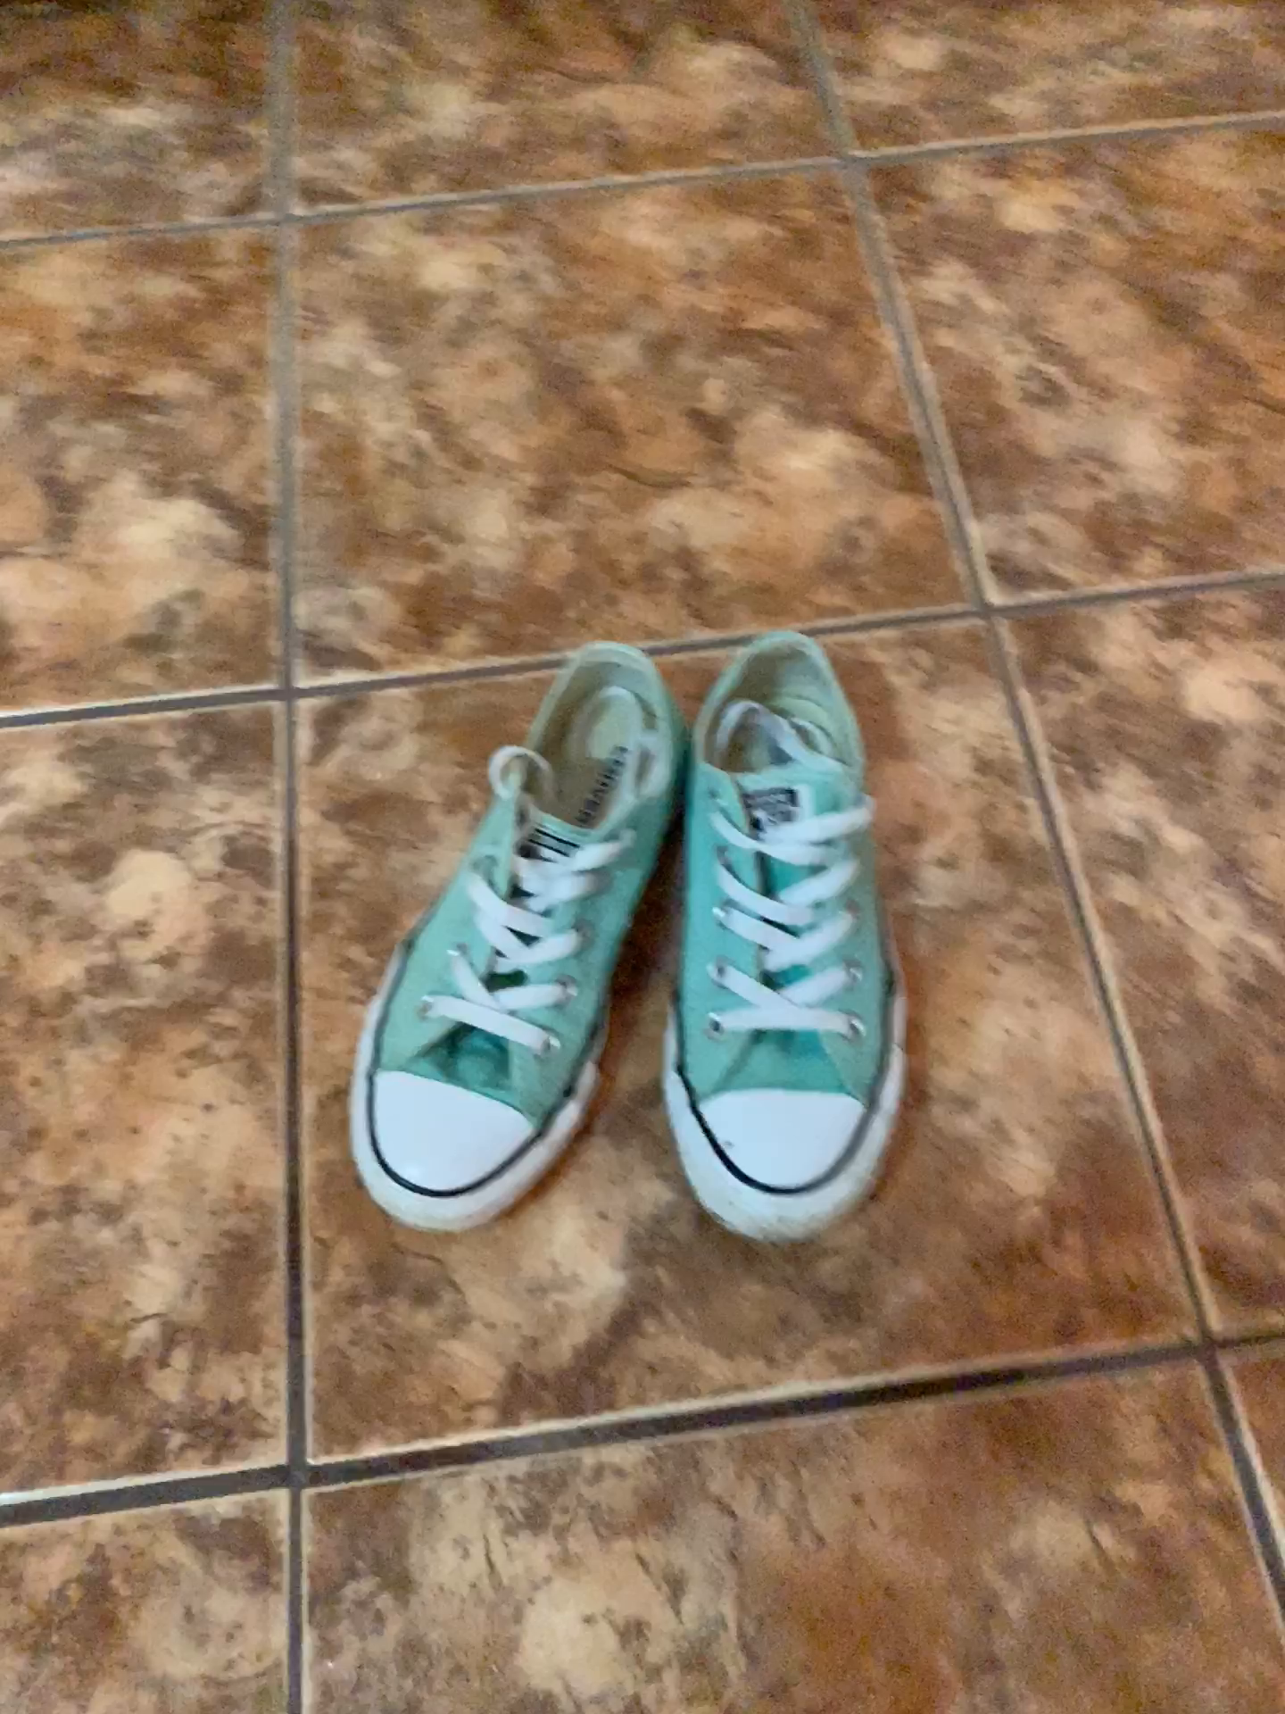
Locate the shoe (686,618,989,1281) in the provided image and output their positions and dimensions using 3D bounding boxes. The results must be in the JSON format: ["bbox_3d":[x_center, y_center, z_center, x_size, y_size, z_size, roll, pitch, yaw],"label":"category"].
[{"bbox_3d":[0.065,0.030,0.509,0.094,0.084,0.244,1,61,1],"label":"shoe"}]

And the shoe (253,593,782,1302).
[{"bbox_3d":[-0.036,0.030,0.513,0.098,0.094,0.244,20,63,11],"label":"shoe"}]
